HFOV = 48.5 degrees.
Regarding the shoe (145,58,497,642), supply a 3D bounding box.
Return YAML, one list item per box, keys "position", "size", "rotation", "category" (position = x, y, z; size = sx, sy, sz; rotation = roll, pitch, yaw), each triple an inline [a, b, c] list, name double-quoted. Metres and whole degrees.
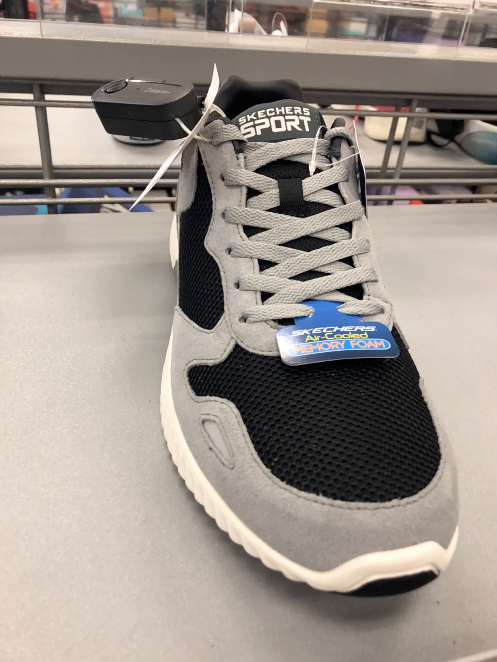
- position: [0.011, -0.038, 0.275]
  size: [0.120, 0.119, 0.302]
  rotation: [-1, 36, -10]
  category: "shoe"
